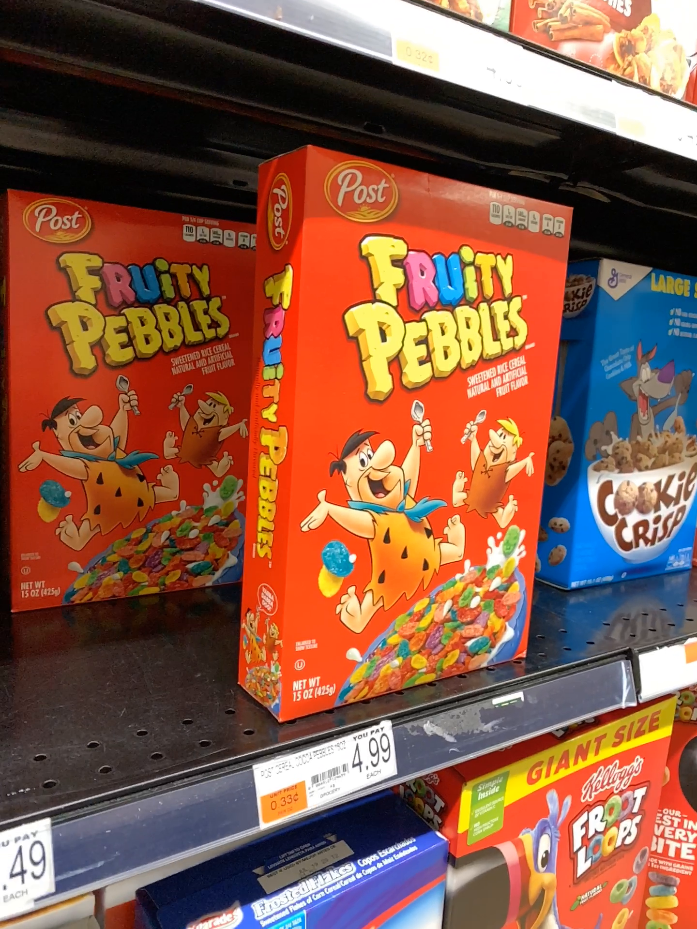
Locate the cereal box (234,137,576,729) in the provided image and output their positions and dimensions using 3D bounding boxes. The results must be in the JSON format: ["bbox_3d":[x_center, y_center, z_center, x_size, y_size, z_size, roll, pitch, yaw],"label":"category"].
[{"bbox_3d":[0.037,-0.016,0.450,0.200,0.309,0.060,-2,10,-32],"label":"cereal box"}]
